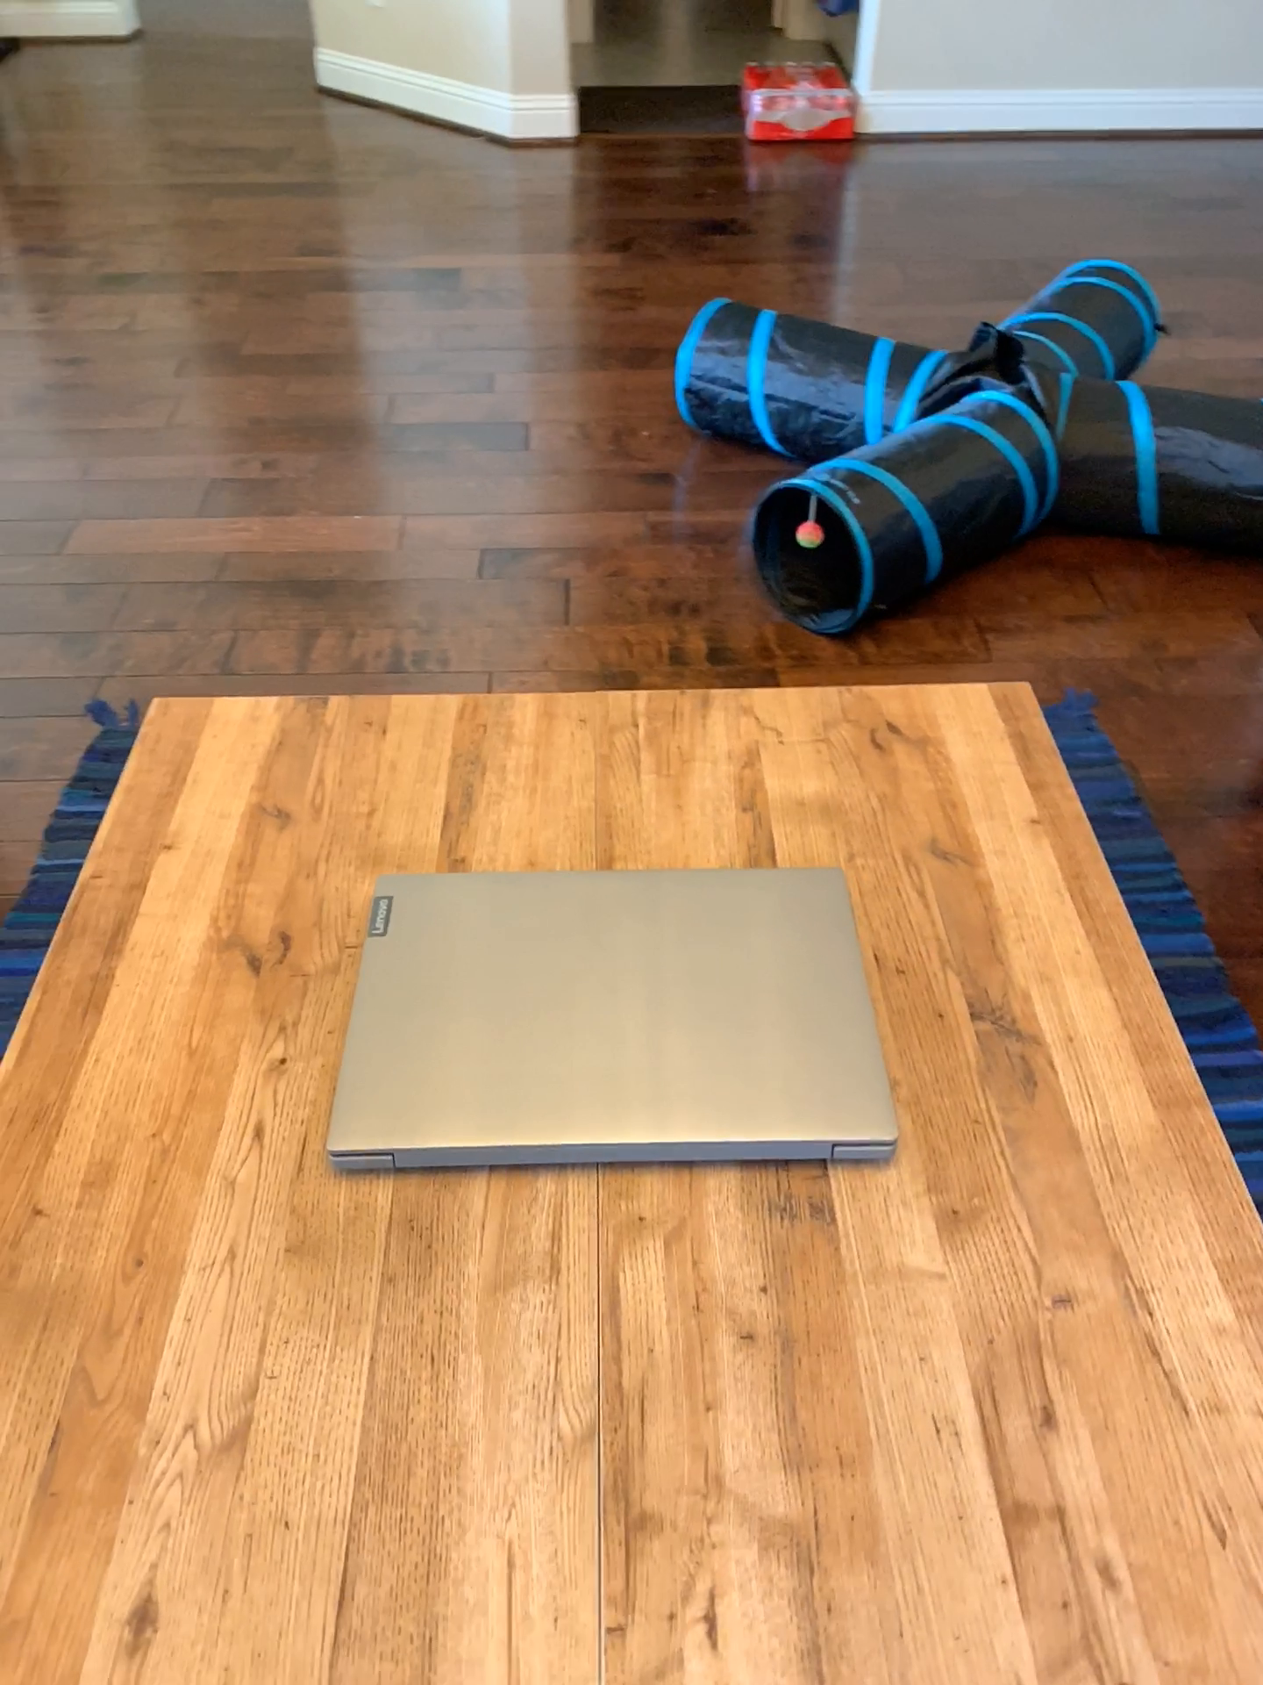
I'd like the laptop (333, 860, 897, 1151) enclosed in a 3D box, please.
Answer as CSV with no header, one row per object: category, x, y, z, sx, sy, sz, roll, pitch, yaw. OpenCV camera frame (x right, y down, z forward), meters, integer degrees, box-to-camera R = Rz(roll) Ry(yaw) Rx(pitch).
laptop,-0.012,0.102,0.885,0.347,0.011,0.238,-1,44,-1
